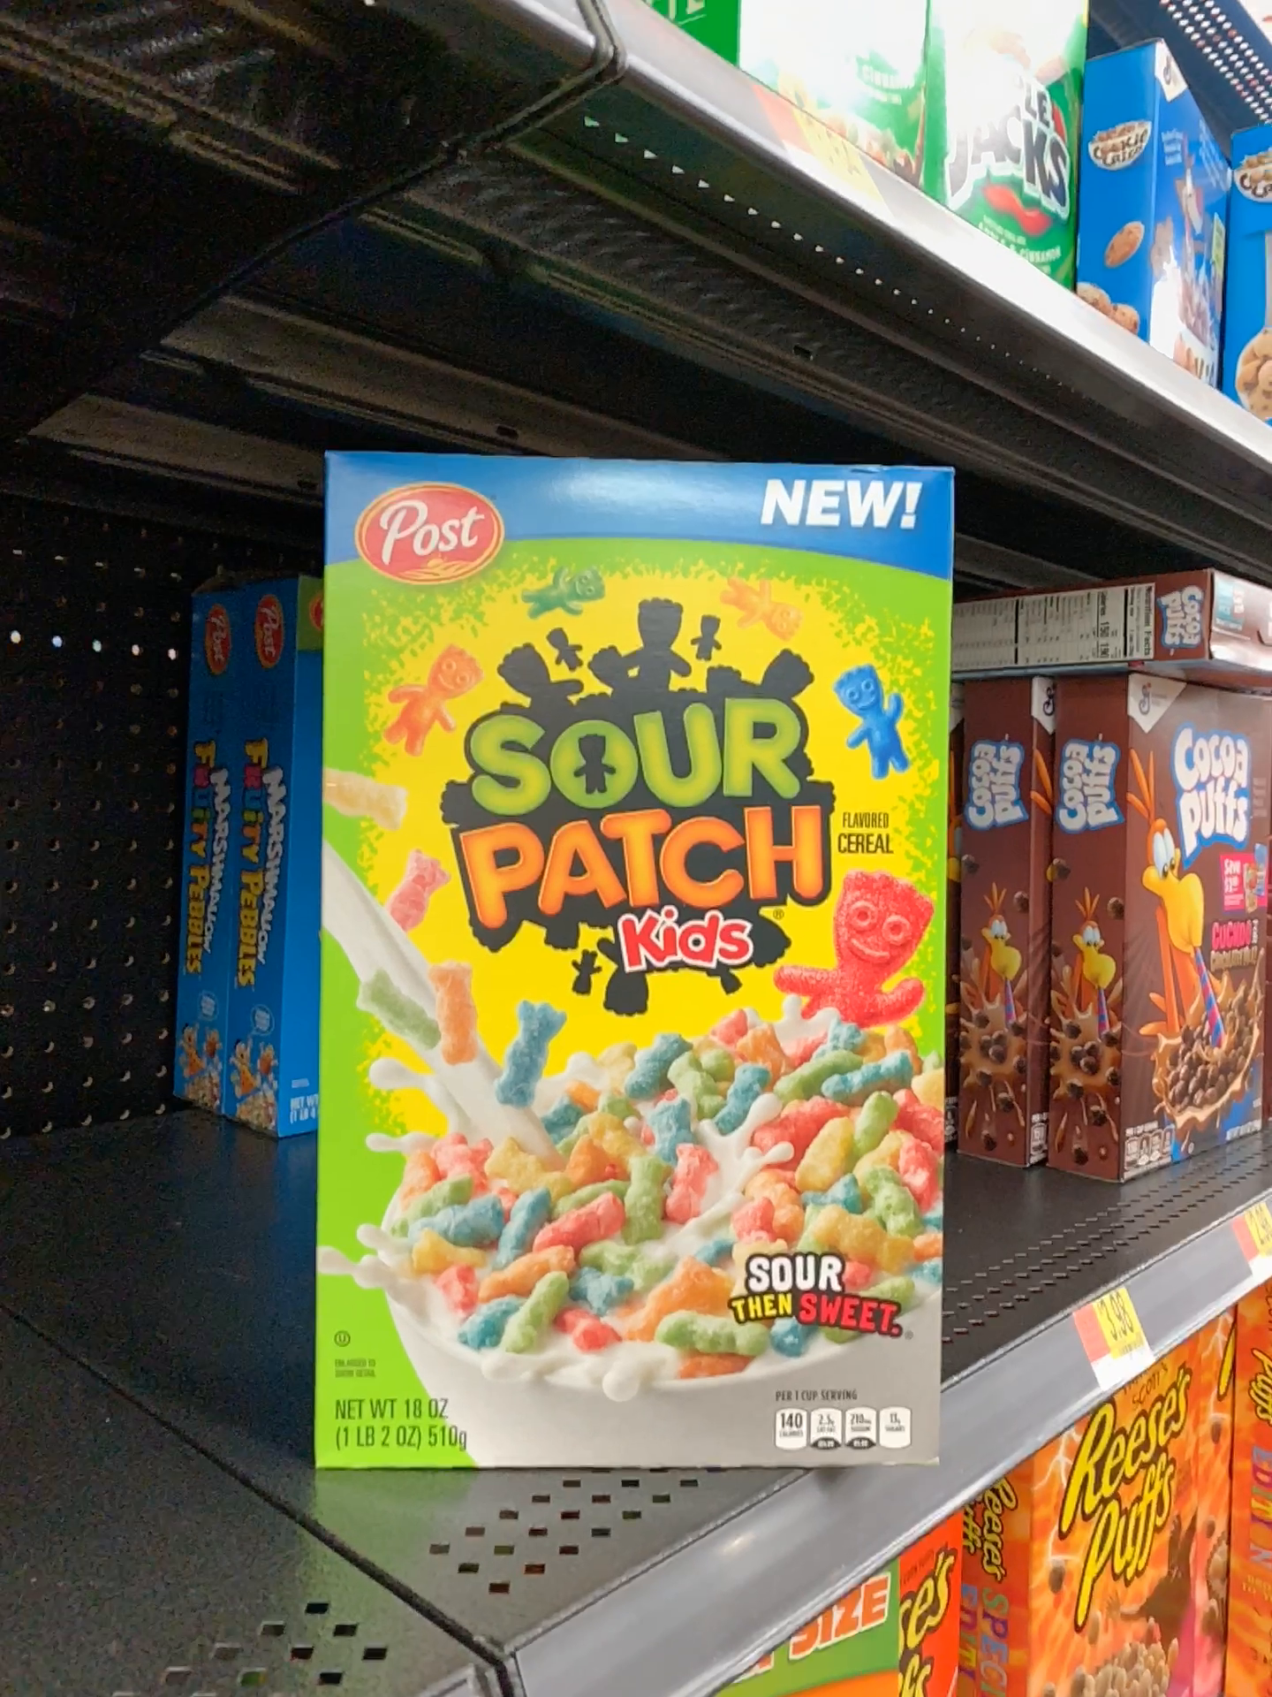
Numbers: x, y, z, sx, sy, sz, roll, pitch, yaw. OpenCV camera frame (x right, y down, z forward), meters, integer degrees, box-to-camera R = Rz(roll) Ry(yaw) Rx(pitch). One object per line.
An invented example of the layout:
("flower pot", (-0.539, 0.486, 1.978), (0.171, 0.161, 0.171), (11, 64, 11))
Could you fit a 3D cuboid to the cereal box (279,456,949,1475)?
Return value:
("cereal box", (-0.008, 0.037, 0.443), (0.200, 0.310, 0.080), (1, 1, -3))
